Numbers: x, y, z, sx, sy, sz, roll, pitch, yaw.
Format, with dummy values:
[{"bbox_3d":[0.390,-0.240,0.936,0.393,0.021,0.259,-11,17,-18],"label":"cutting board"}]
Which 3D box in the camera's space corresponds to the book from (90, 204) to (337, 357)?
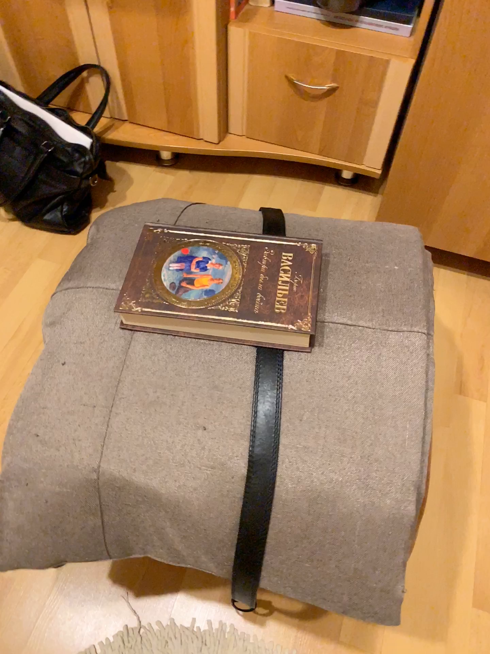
[{"bbox_3d":[-0.023,-0.053,0.506,0.220,0.050,0.141,5,56,8],"label":"book"}]
